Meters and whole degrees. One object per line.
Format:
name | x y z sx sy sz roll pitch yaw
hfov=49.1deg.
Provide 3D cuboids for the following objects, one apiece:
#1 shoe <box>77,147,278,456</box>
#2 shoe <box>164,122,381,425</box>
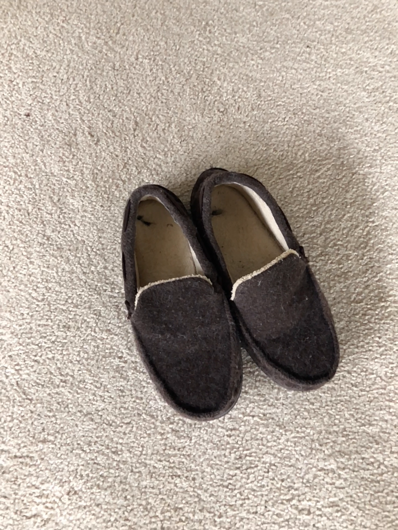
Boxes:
shoe | -0.029 0.037 0.523 0.120 0.096 0.317 -20 80 -4
shoe | 0.075 0.007 0.525 0.118 0.096 0.316 -22 80 -4
